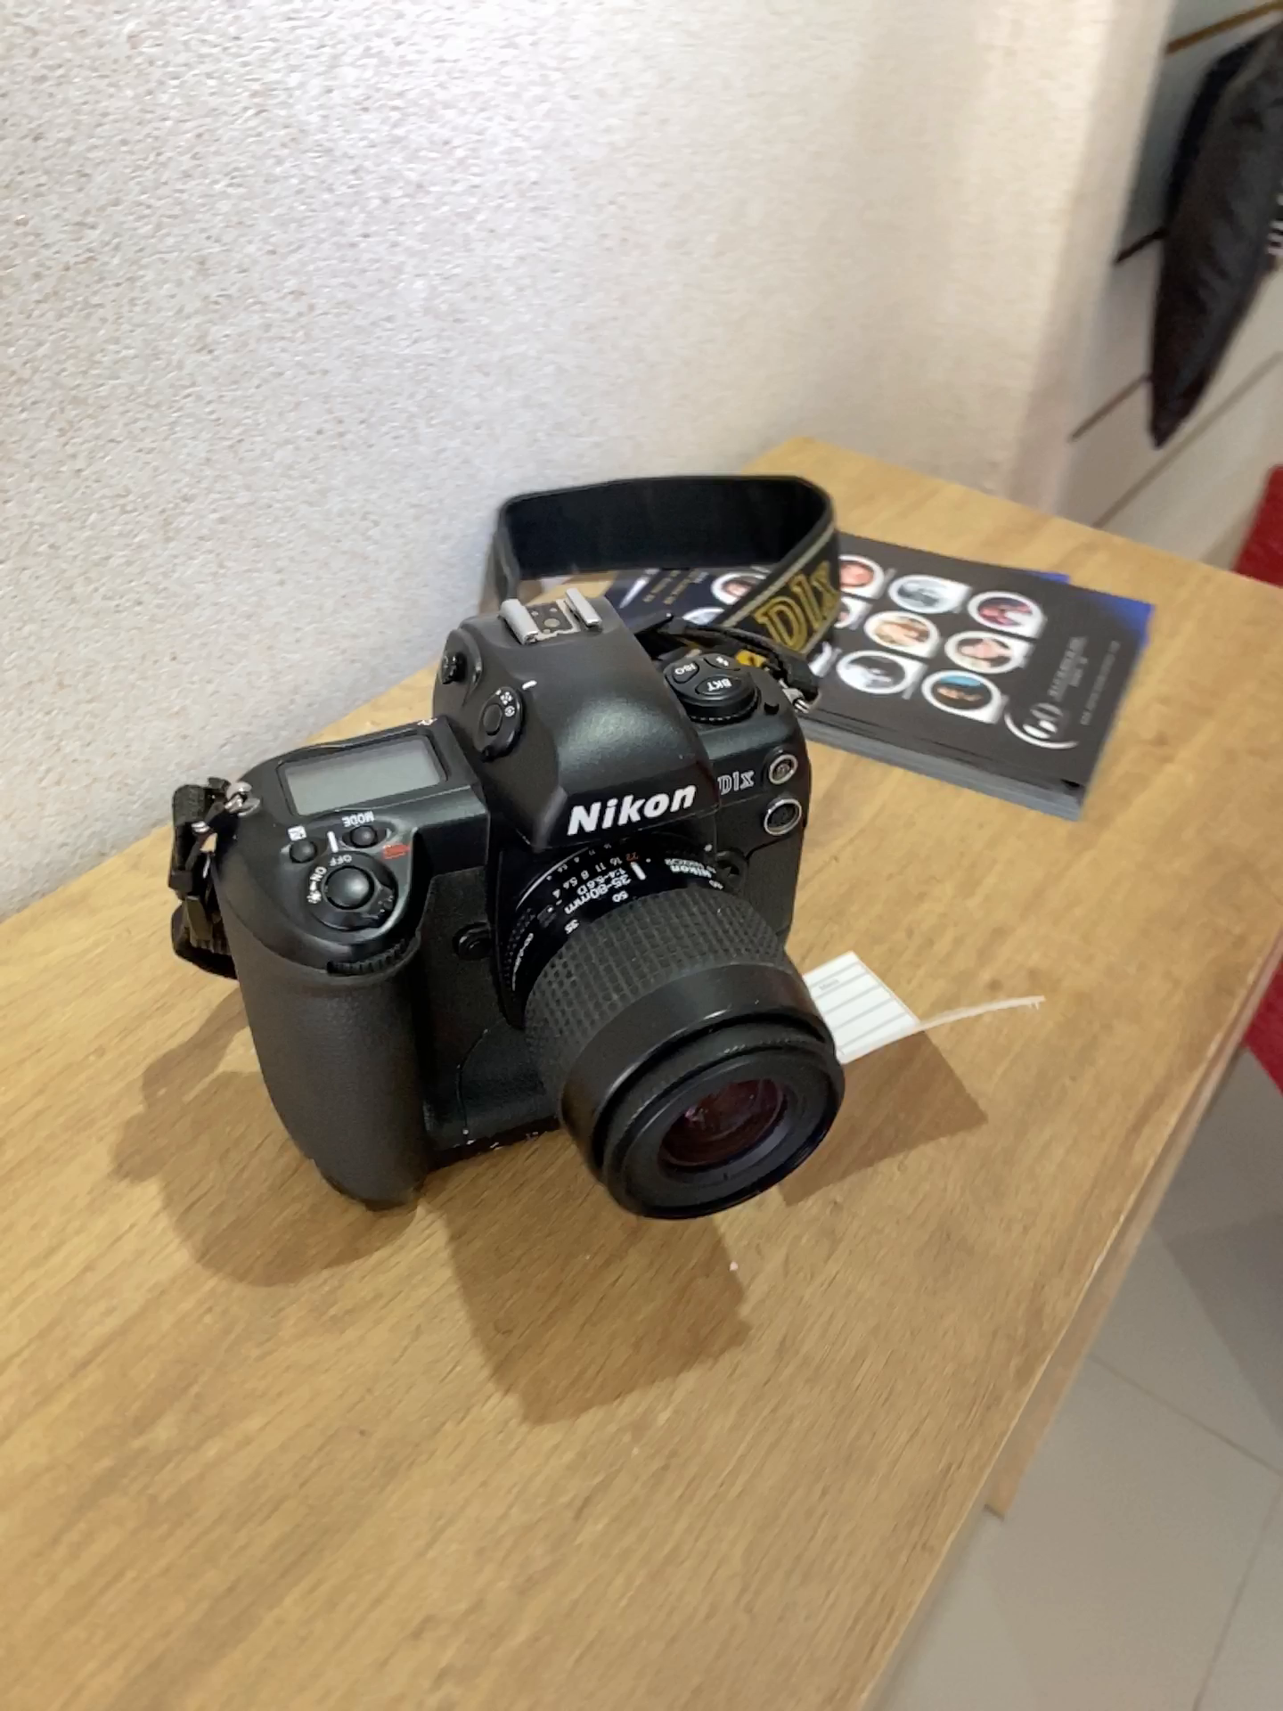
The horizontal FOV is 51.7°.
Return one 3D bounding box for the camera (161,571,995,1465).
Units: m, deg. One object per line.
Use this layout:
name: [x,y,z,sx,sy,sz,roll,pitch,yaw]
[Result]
camera: [-0.025,0.032,0.362,0.150,0.129,0.161,-17,44,-19]
